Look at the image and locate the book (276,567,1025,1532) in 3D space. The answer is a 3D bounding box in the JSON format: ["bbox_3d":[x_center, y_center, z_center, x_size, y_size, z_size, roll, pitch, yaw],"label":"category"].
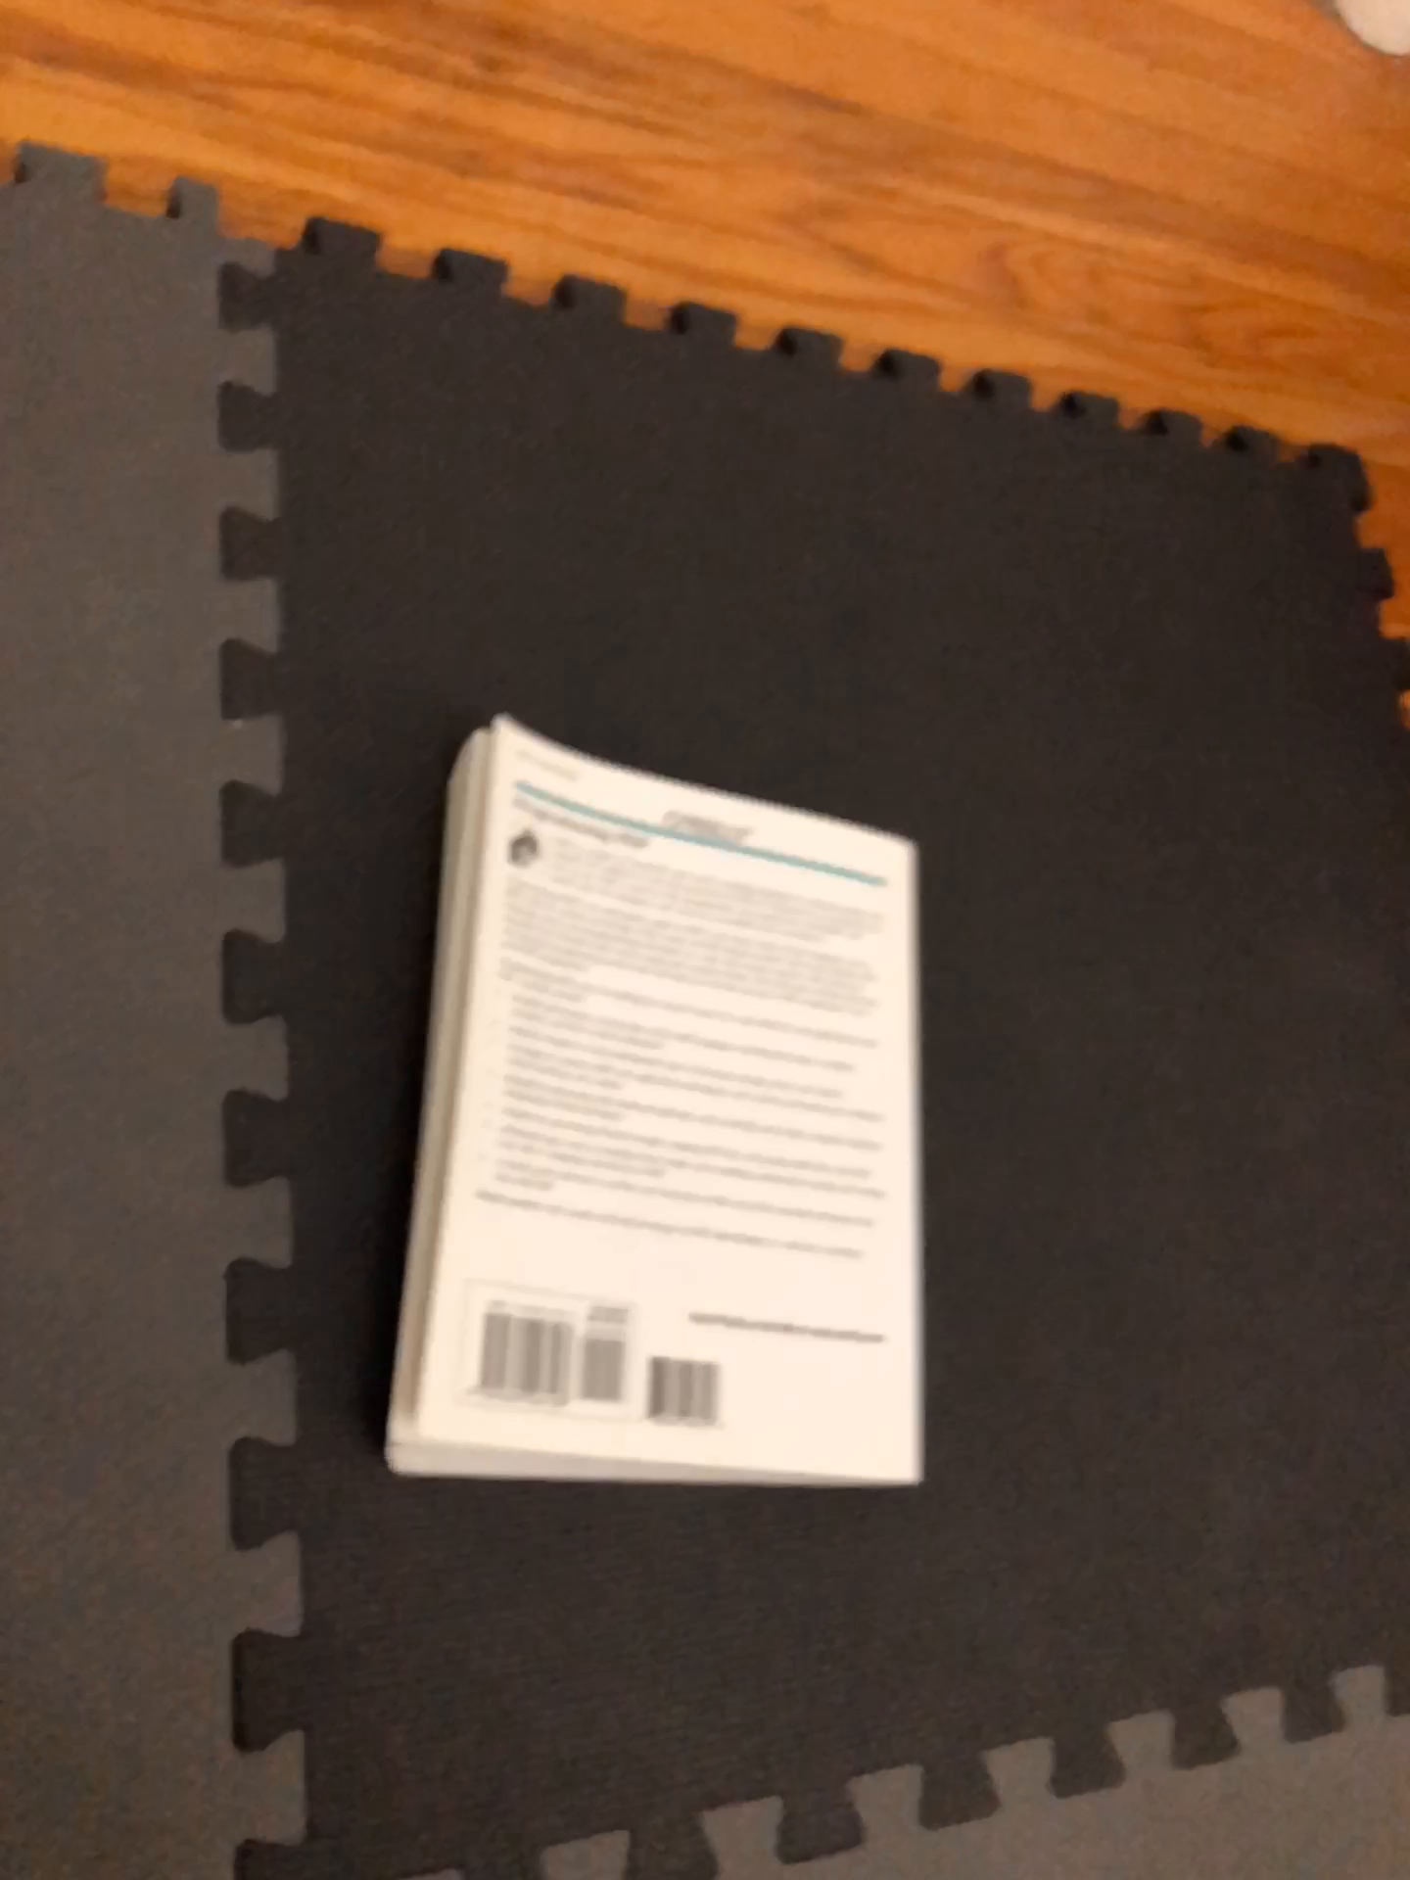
[{"bbox_3d":[-0.004,0.039,0.533,0.230,0.040,0.291,12,67,-22],"label":"book"}]
